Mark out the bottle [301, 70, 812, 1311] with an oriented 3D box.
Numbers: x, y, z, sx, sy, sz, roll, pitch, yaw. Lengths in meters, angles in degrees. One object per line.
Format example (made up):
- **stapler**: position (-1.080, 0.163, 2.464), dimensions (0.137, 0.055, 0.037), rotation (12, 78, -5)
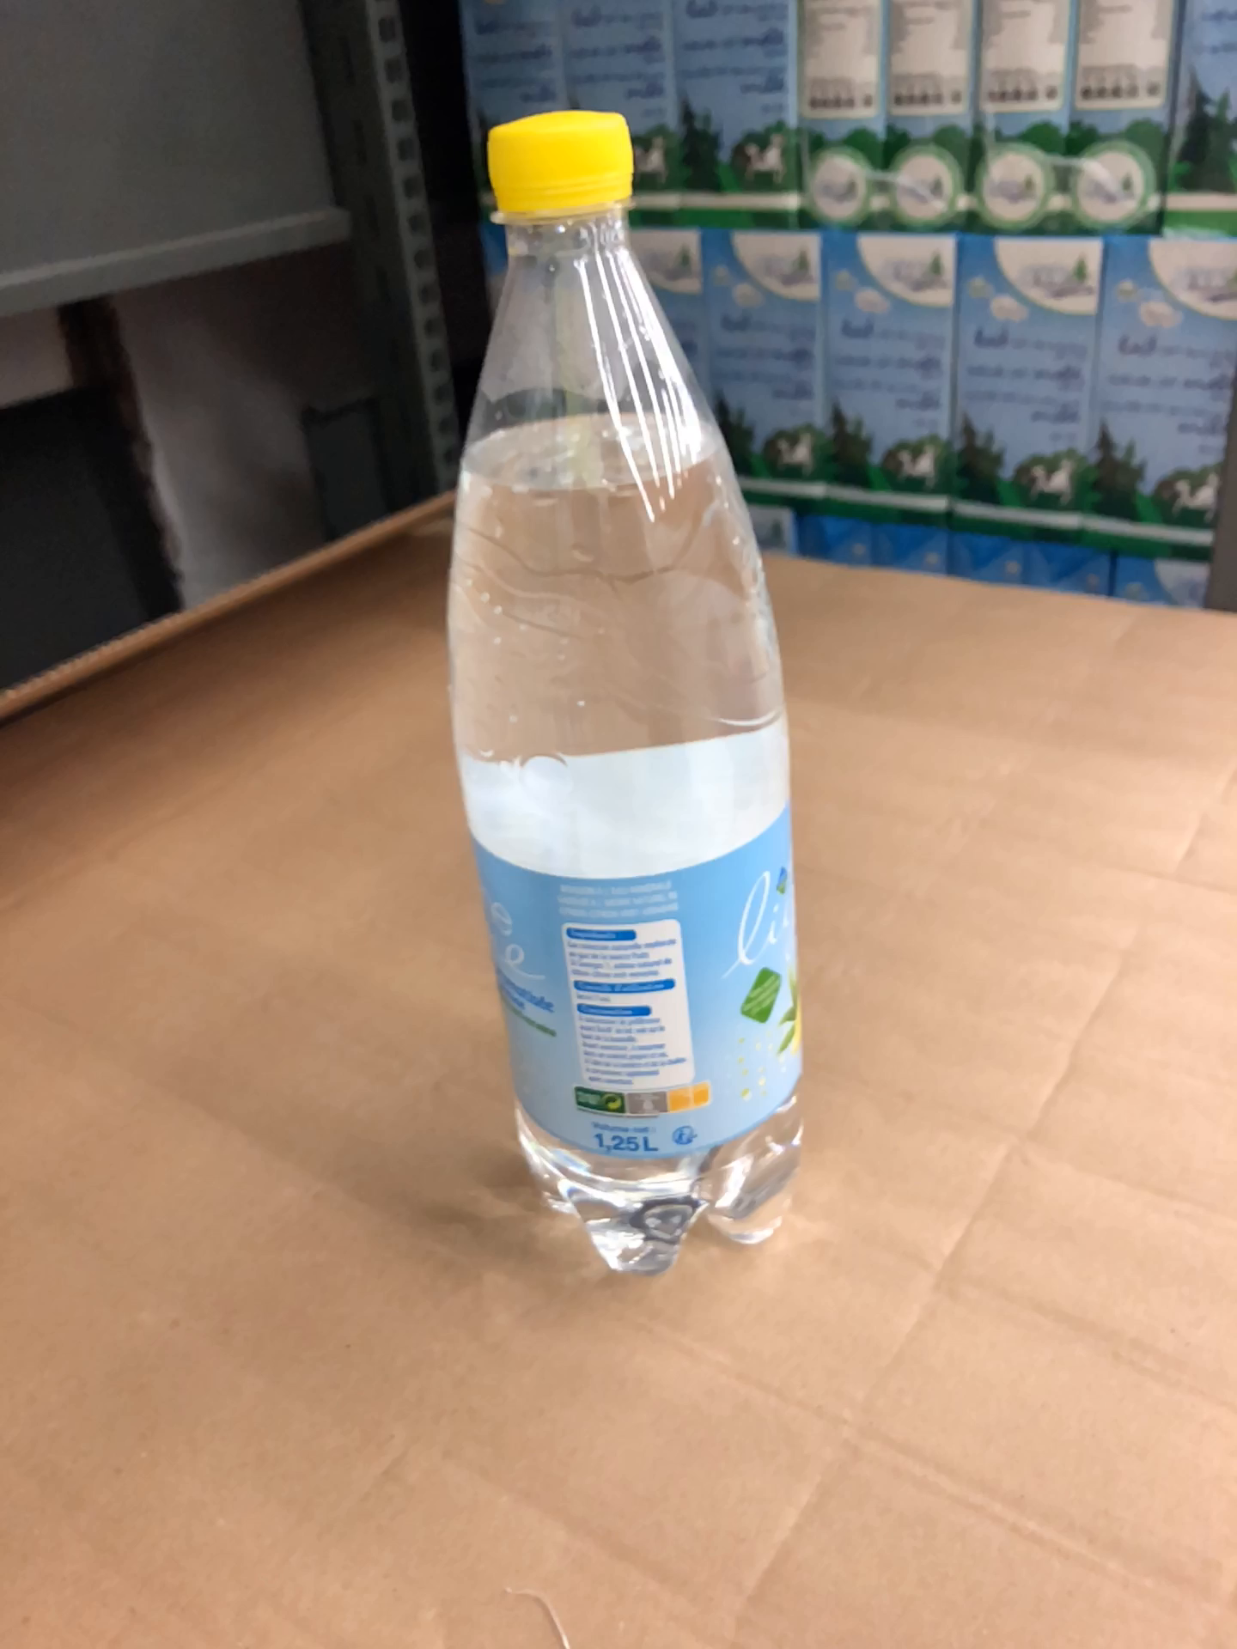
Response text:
- **bottle**: position (0.003, -0.019, 0.343), dimensions (0.080, 0.288, 0.091), rotation (1, 30, 11)
